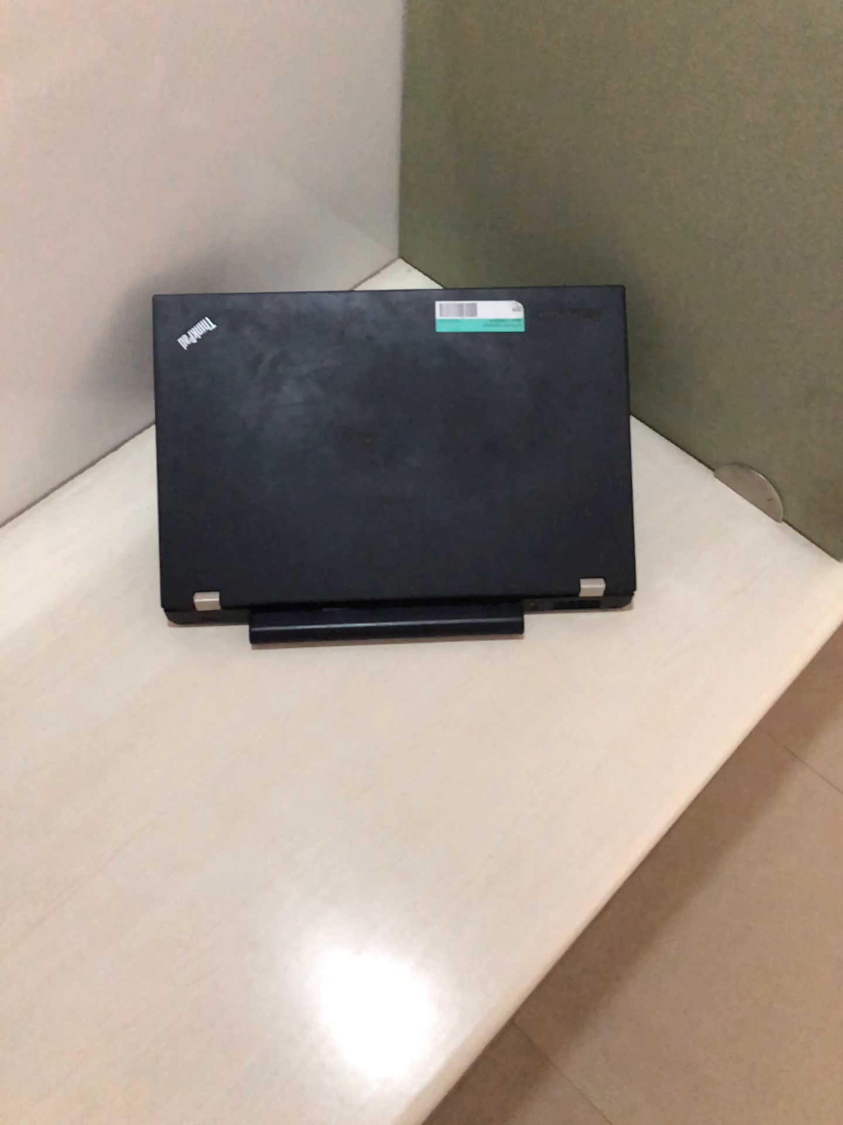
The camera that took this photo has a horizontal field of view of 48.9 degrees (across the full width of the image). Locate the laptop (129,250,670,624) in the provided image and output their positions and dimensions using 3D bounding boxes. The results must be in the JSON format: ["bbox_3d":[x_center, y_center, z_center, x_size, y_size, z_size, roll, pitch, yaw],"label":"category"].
[{"bbox_3d":[-0.019,-0.098,0.724,0.354,0.140,0.233,-2,60,-1],"label":"laptop"}]
